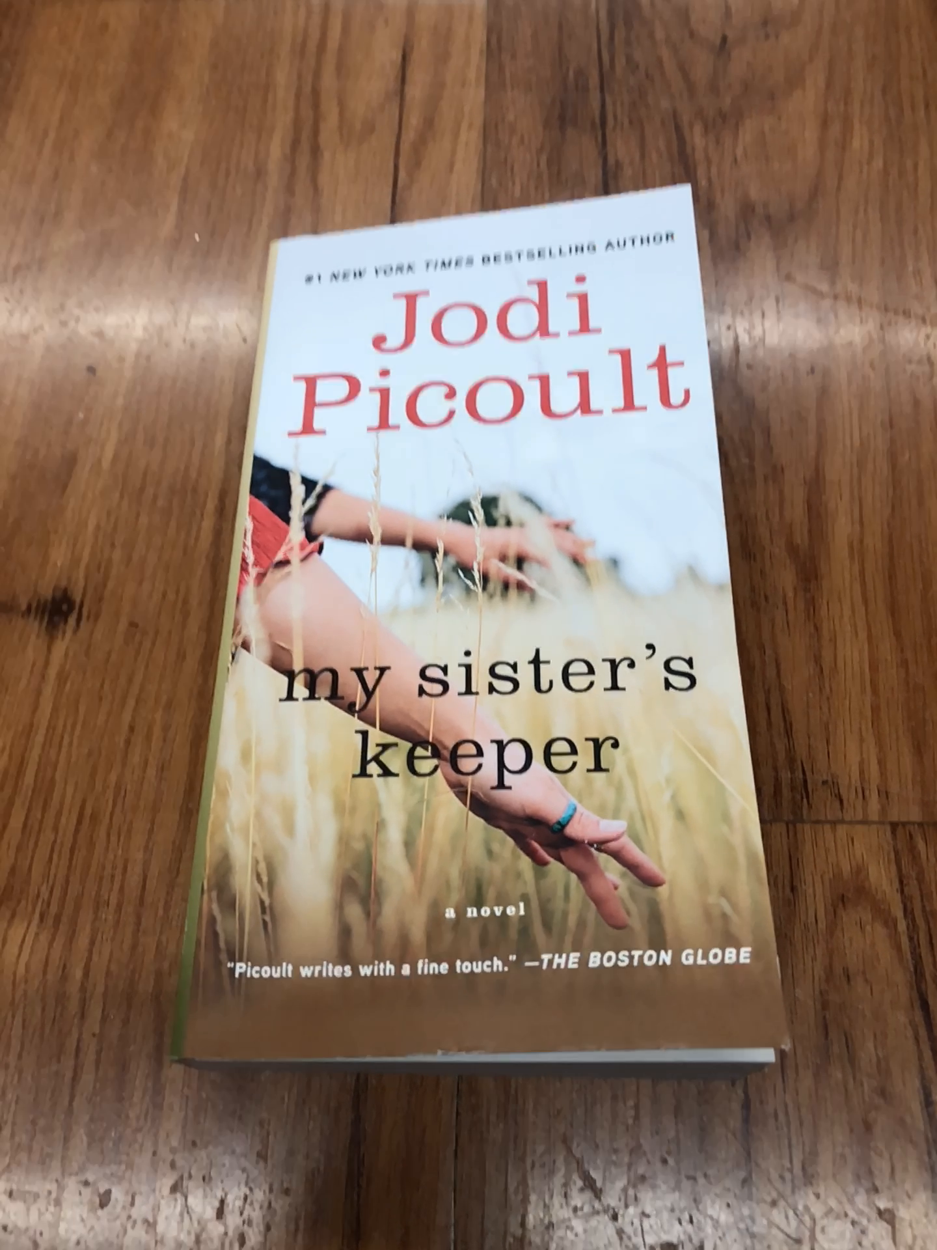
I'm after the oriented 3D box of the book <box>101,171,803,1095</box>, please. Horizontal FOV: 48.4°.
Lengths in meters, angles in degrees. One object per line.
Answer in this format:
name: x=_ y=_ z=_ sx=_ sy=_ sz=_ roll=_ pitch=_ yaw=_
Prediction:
book: x=0.000 y=-0.007 z=0.221 sx=0.110 sy=0.040 sz=0.191 roll=-2 pitch=64 yaw=7
